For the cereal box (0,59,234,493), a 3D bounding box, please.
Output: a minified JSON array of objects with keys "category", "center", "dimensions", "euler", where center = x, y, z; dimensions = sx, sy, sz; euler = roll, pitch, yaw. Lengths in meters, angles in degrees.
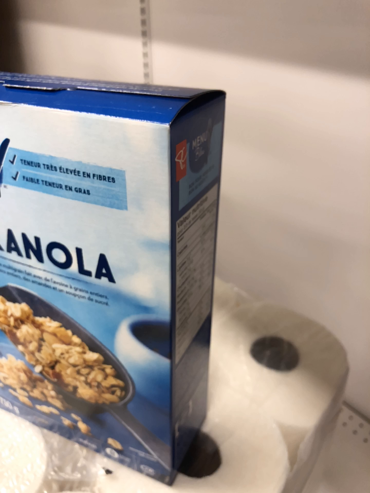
[{"category":"cereal box","center":[-0.064,0.025,0.255],"dimensions":[0.160,0.239,0.060],"euler":[14,33,22]}]
